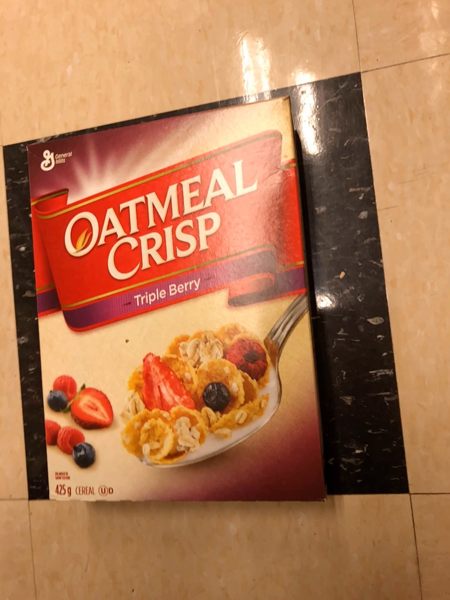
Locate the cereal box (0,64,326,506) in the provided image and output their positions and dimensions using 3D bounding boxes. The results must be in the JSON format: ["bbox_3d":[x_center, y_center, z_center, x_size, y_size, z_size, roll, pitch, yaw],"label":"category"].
[{"bbox_3d":[-0.046,-0.002,0.337,0.200,0.070,0.250,-5,86,14],"label":"cereal box"}]
